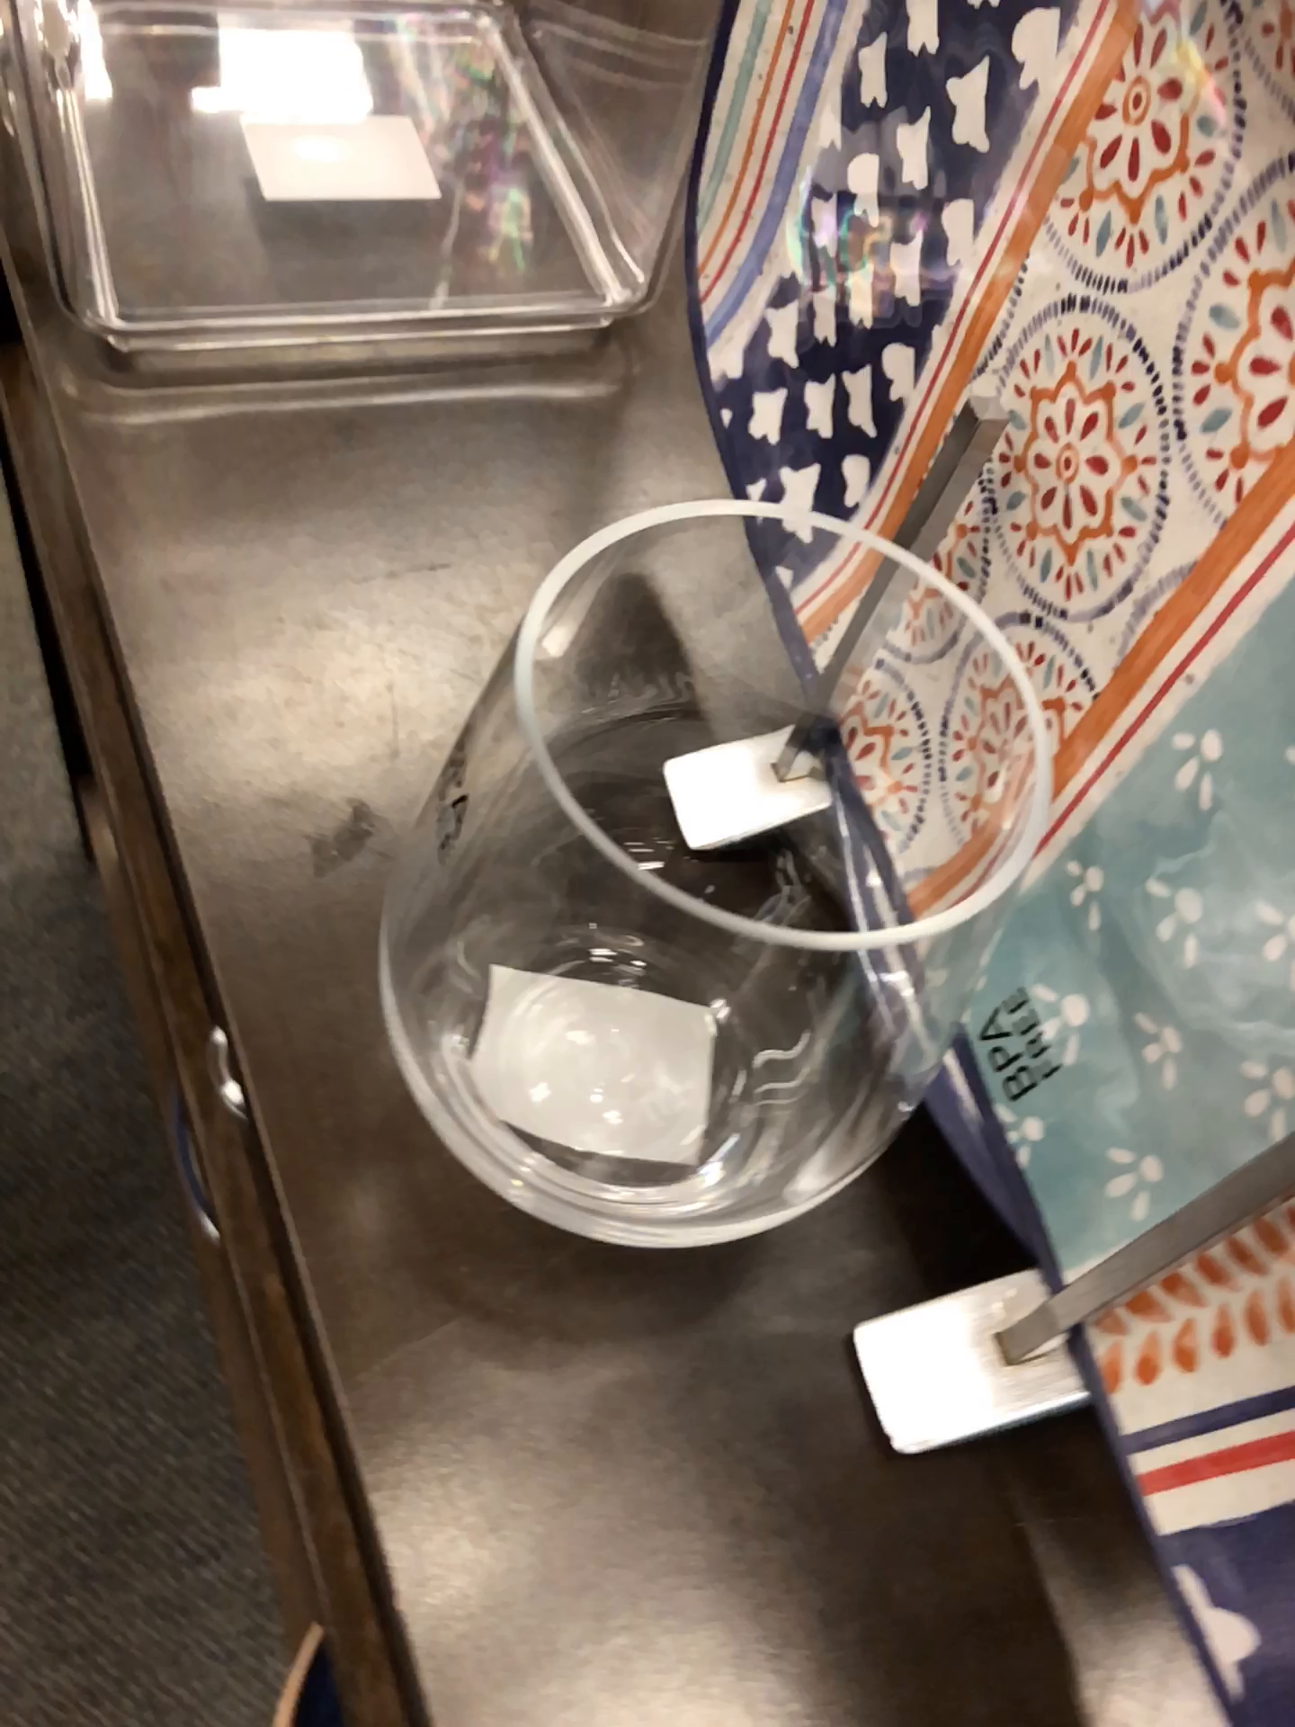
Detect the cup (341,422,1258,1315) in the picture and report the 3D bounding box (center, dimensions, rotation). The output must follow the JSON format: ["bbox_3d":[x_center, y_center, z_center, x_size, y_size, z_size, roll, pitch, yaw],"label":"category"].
[{"bbox_3d":[0.009,0.002,0.225,0.094,0.097,0.094,7,57,-11],"label":"cup"}]
